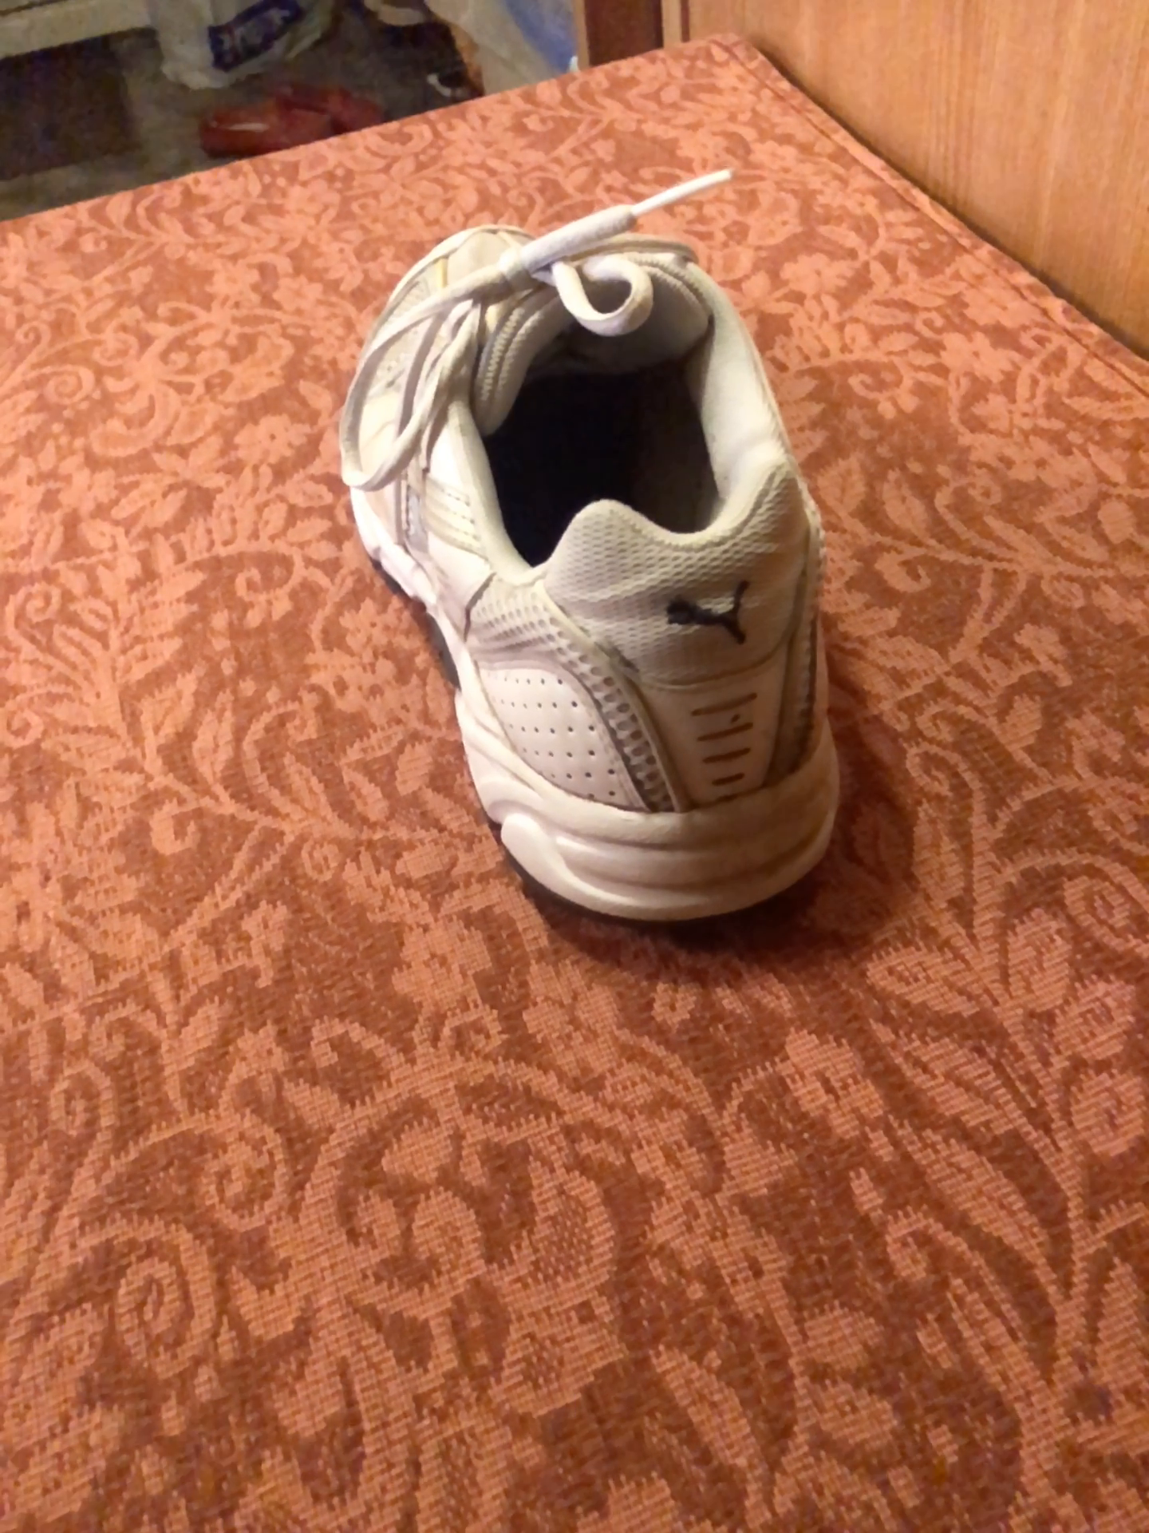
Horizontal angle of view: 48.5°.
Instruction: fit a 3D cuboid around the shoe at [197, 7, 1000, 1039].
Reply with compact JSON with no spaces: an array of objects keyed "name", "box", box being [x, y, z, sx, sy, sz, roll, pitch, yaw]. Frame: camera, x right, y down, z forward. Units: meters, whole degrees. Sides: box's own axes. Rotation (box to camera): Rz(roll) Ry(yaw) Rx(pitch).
[{"name":"shoe","box":[-0.018,-0.092,0.338,0.120,0.100,0.291,-15,47,-5]}]
